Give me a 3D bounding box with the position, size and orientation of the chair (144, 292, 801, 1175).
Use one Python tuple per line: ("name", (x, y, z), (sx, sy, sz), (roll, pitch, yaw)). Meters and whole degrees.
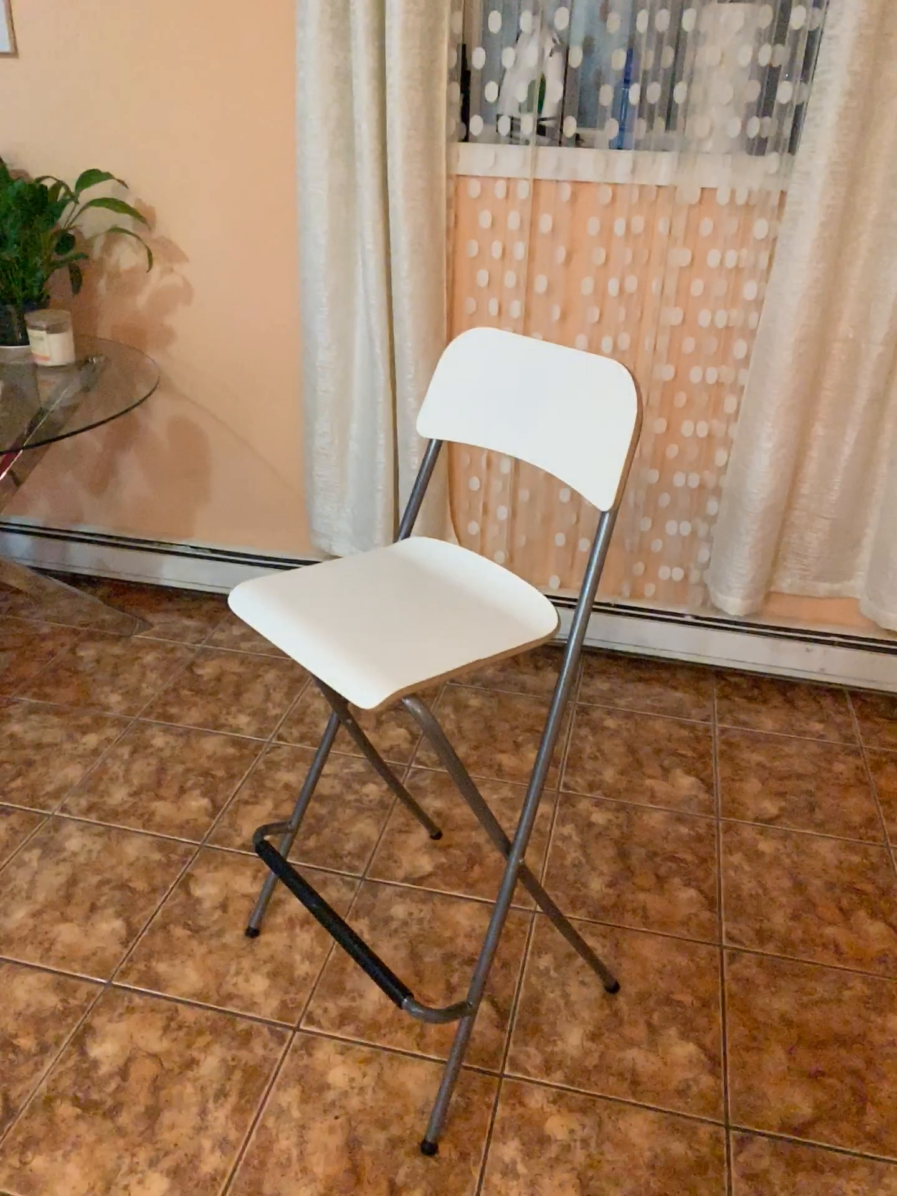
("chair", (-0.004, 0.142, 1.350), (0.544, 1.007, 0.600), (-22, 37, -39))
